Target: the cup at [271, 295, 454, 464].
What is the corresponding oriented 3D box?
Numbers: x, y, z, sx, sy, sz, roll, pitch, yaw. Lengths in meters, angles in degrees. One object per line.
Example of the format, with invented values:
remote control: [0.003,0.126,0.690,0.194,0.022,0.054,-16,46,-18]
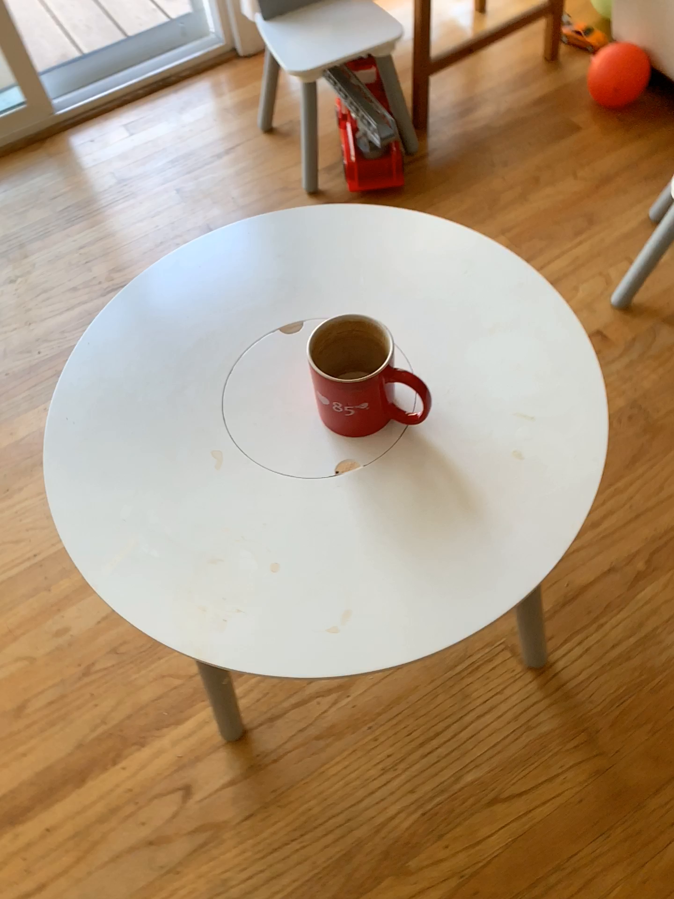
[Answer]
cup: [0.029,-0.070,0.695,0.150,0.100,0.090,19,63,17]
